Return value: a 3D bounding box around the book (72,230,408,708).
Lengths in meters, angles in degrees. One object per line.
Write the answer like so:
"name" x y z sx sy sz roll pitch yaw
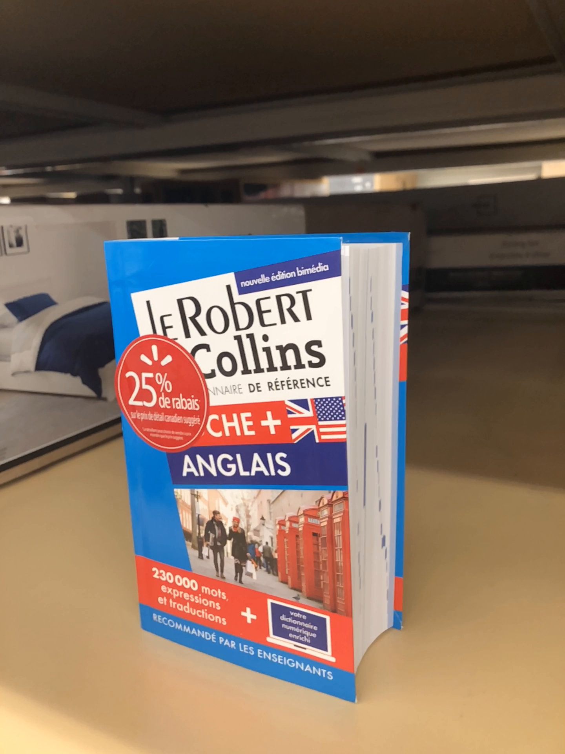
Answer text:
"book" -0.014 0.029 0.270 0.121 0.173 0.059 5 16 28
